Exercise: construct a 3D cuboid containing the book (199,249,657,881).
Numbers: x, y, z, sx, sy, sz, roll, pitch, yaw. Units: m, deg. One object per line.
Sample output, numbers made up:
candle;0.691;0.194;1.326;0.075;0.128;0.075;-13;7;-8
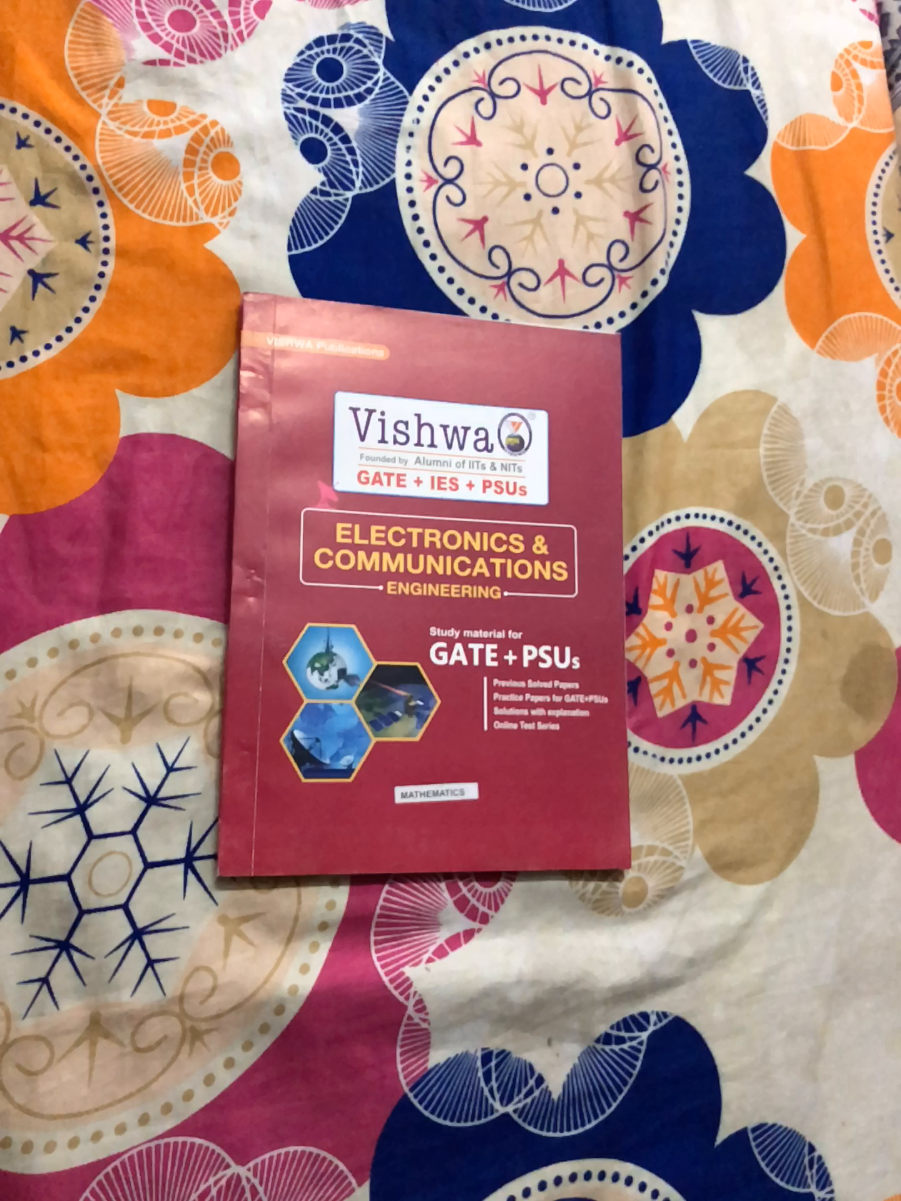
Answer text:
book;-0.007;-0.017;0.505;0.217;0.030;0.300;3;79;-14
